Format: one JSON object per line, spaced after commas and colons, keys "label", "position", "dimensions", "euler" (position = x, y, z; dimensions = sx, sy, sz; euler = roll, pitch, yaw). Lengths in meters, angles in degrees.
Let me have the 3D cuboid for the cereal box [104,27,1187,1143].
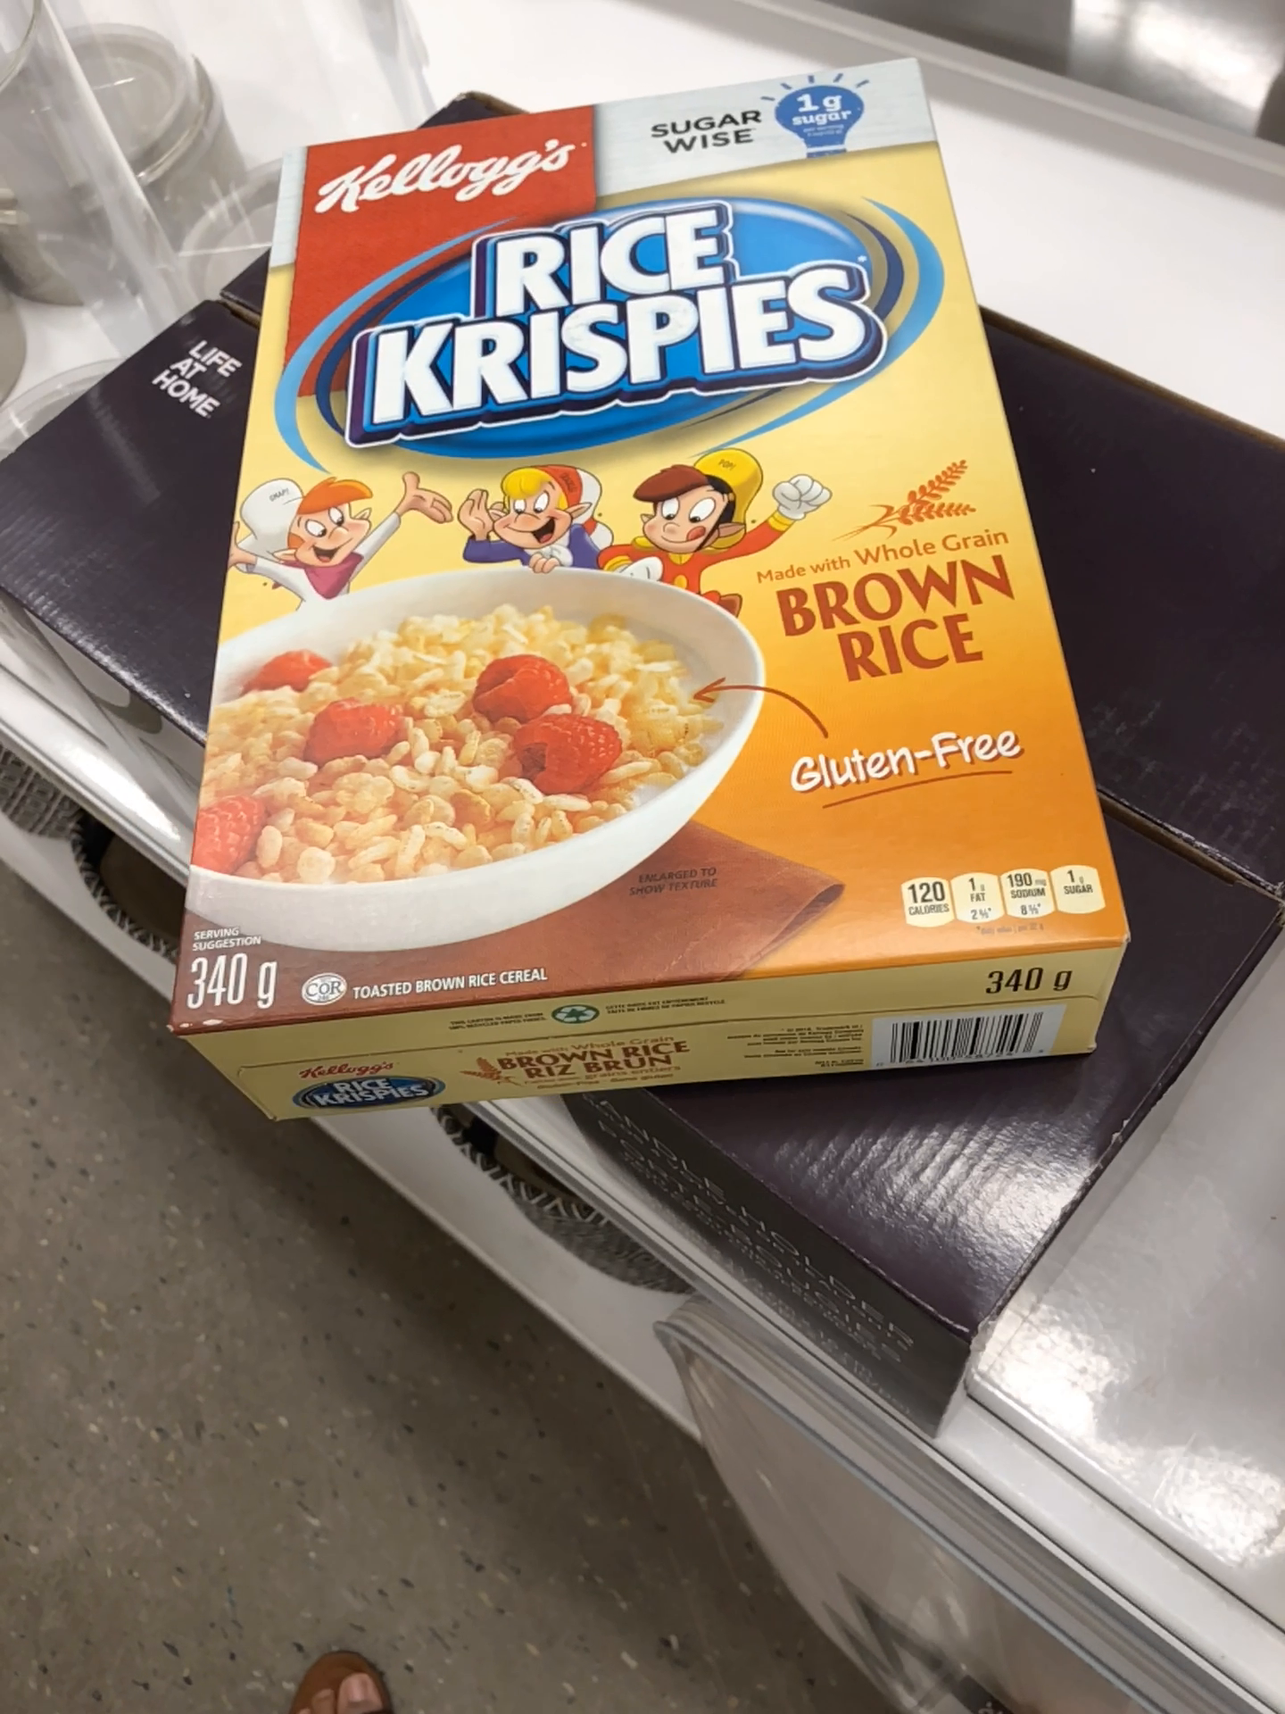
{"label": "cereal box", "position": [-0.008, -0.098, 0.406], "dimensions": [0.220, 0.070, 0.330], "euler": [-5, 58, 2]}
